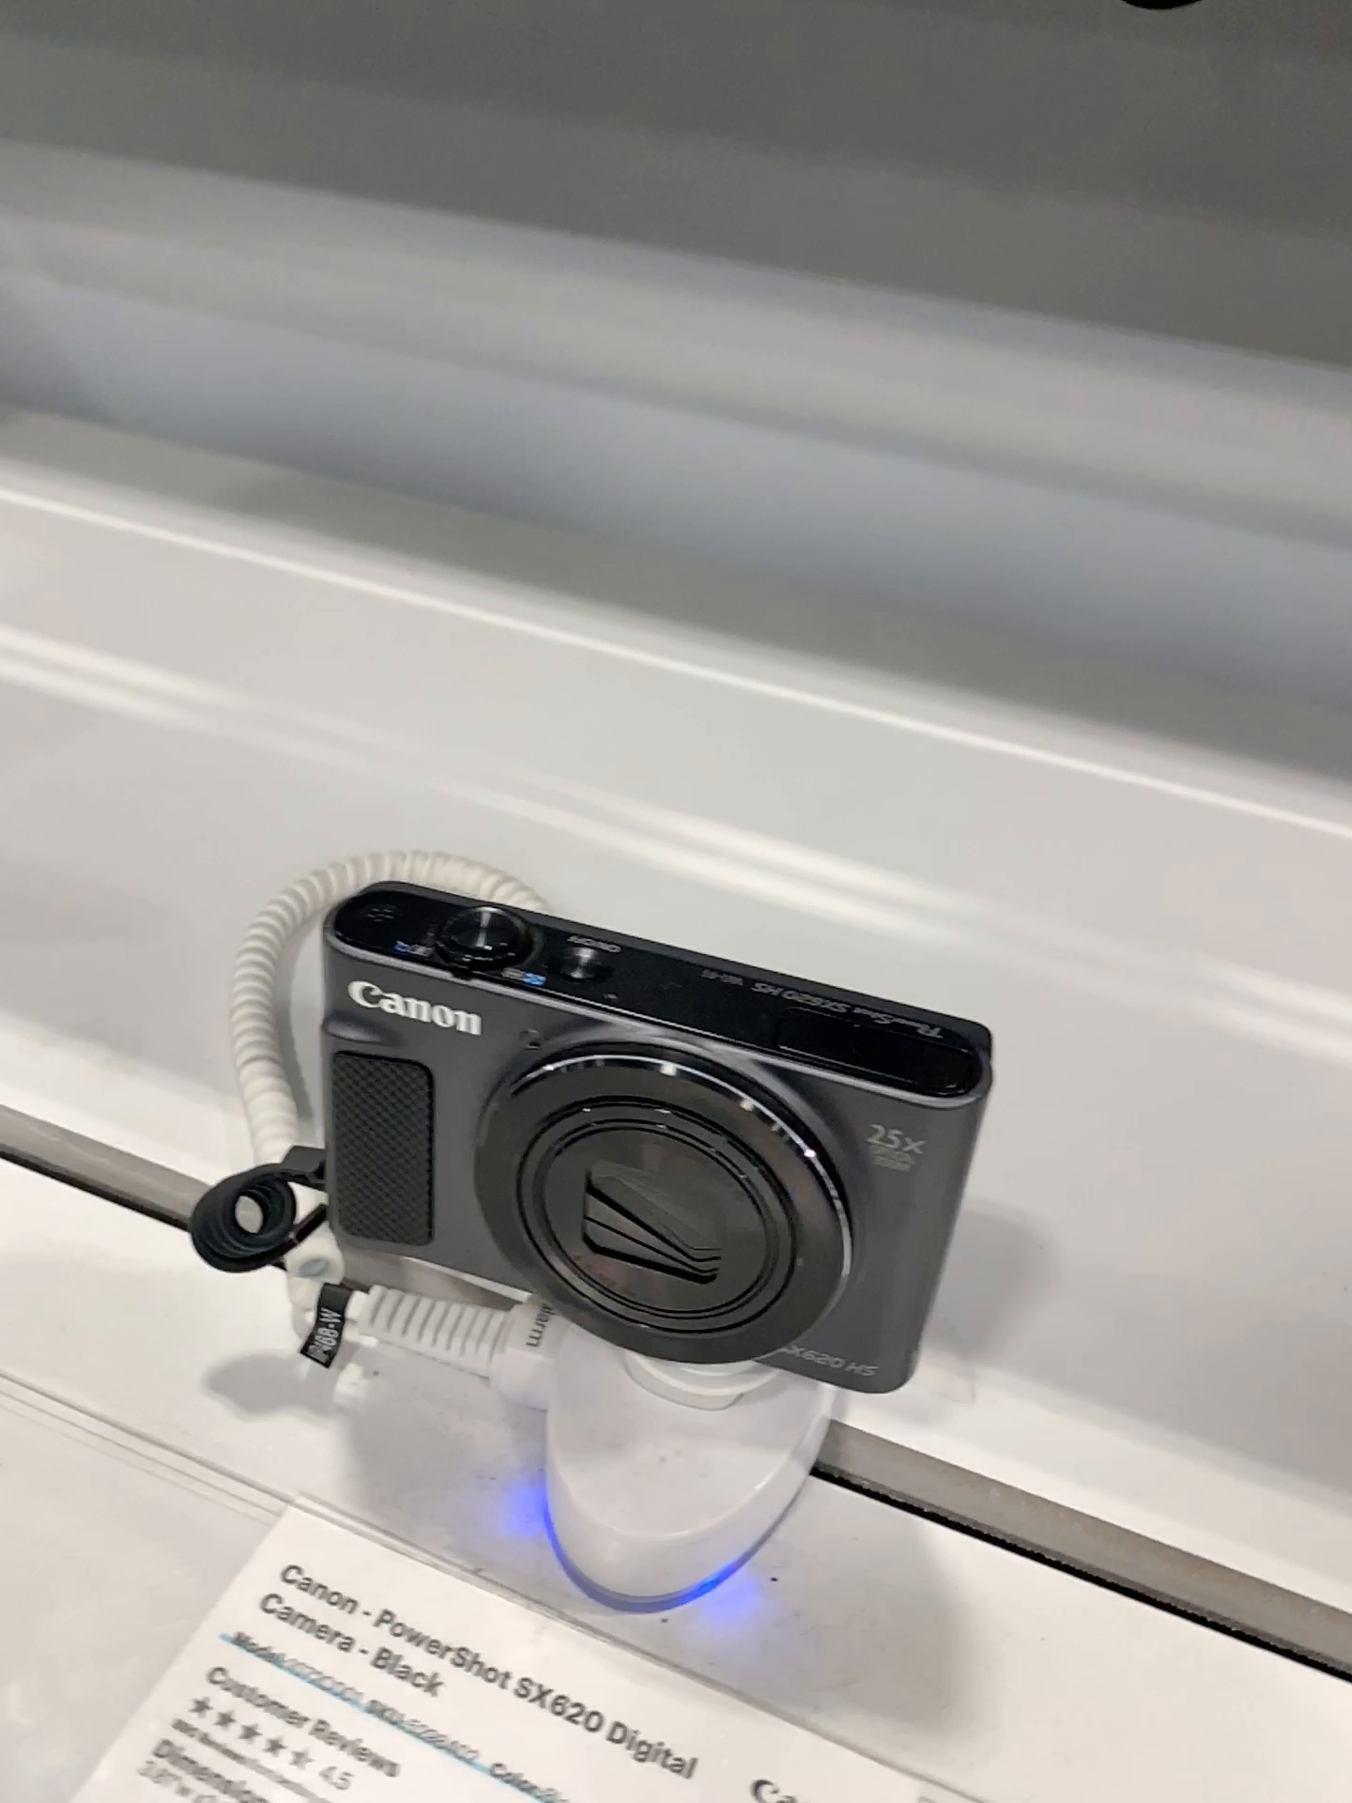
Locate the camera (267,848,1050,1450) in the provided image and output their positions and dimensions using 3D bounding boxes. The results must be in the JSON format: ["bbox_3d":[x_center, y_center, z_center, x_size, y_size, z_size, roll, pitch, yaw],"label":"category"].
[{"bbox_3d":[-0.004,0.033,0.200,0.100,0.050,0.031,15,31,10],"label":"camera"}]
